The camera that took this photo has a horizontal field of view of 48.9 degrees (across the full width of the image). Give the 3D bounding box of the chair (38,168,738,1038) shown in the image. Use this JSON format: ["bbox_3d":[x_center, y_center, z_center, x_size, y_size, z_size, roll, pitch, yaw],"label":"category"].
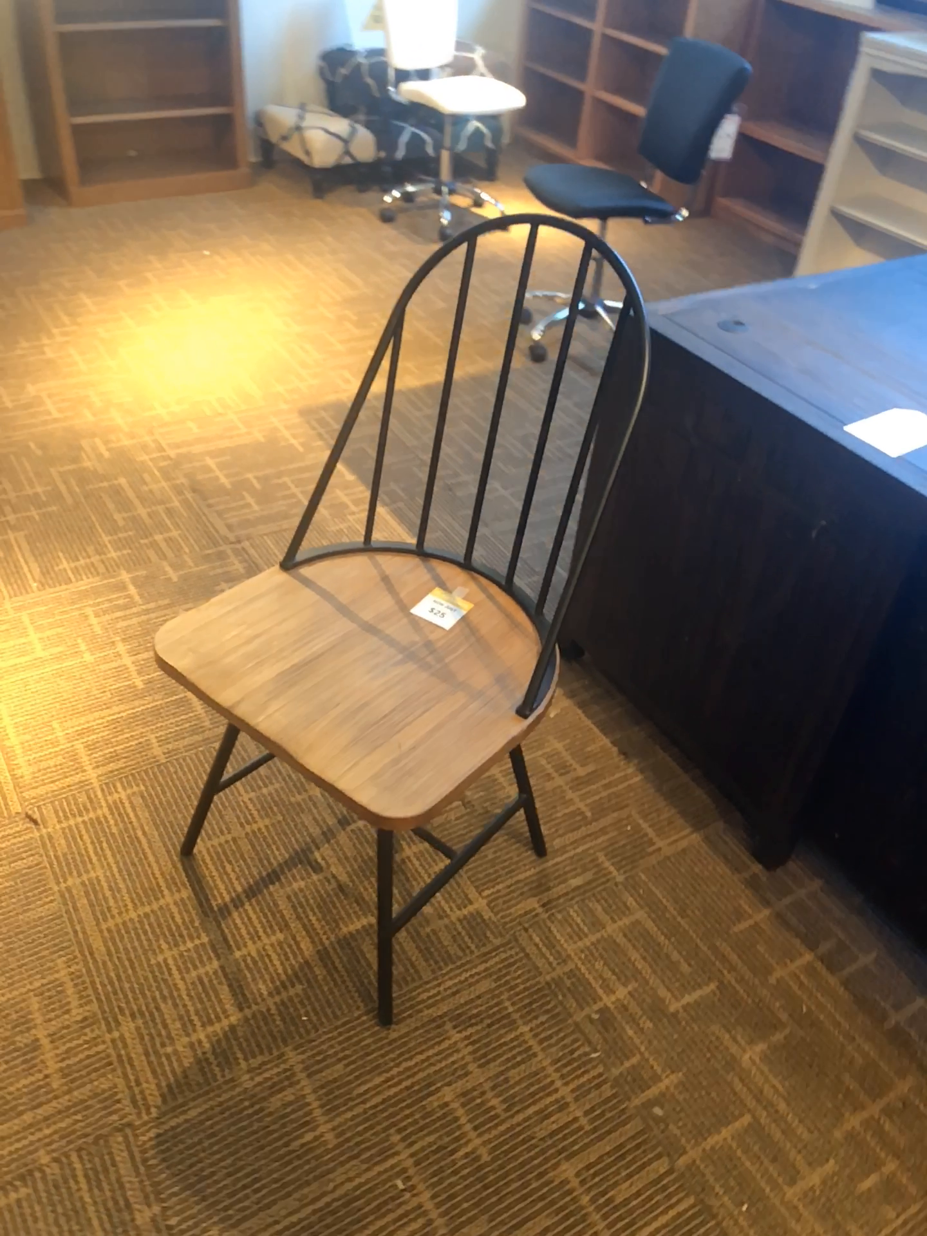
[{"bbox_3d":[-0.098,-0.030,1.431,0.514,0.929,0.601,30,44,27],"label":"chair"}]
